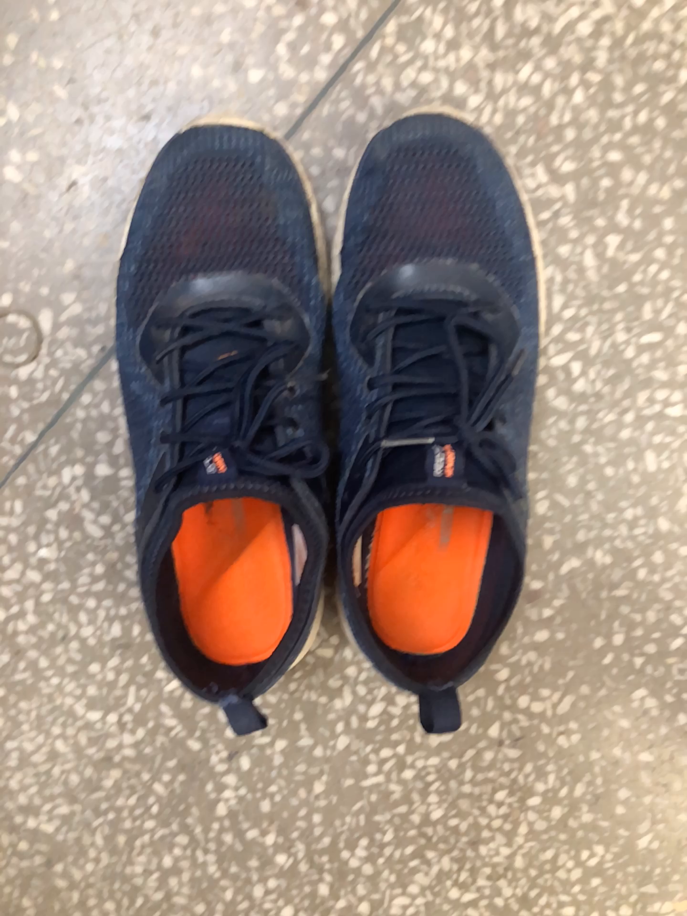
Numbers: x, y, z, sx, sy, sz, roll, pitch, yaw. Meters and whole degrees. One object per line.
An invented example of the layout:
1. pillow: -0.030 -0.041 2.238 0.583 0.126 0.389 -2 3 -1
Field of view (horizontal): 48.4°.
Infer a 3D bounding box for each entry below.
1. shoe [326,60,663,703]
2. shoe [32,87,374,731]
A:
1. shoe: 0.058 -0.029 0.350 0.123 0.100 0.249 -2 100 0
2. shoe: -0.051 -0.018 0.350 0.113 0.100 0.249 -3 100 0
